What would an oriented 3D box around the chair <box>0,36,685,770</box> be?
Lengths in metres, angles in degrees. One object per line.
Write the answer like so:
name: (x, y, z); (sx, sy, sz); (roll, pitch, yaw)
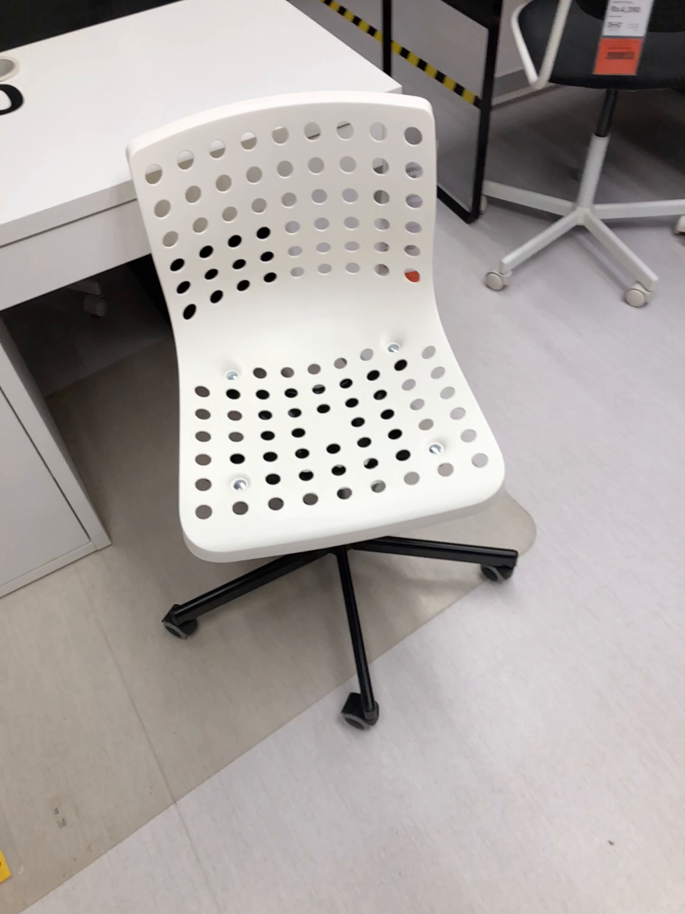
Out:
chair: (-0.029, -0.051, 1.112); (0.670, 0.746, 0.654); (-10, 51, -5)
